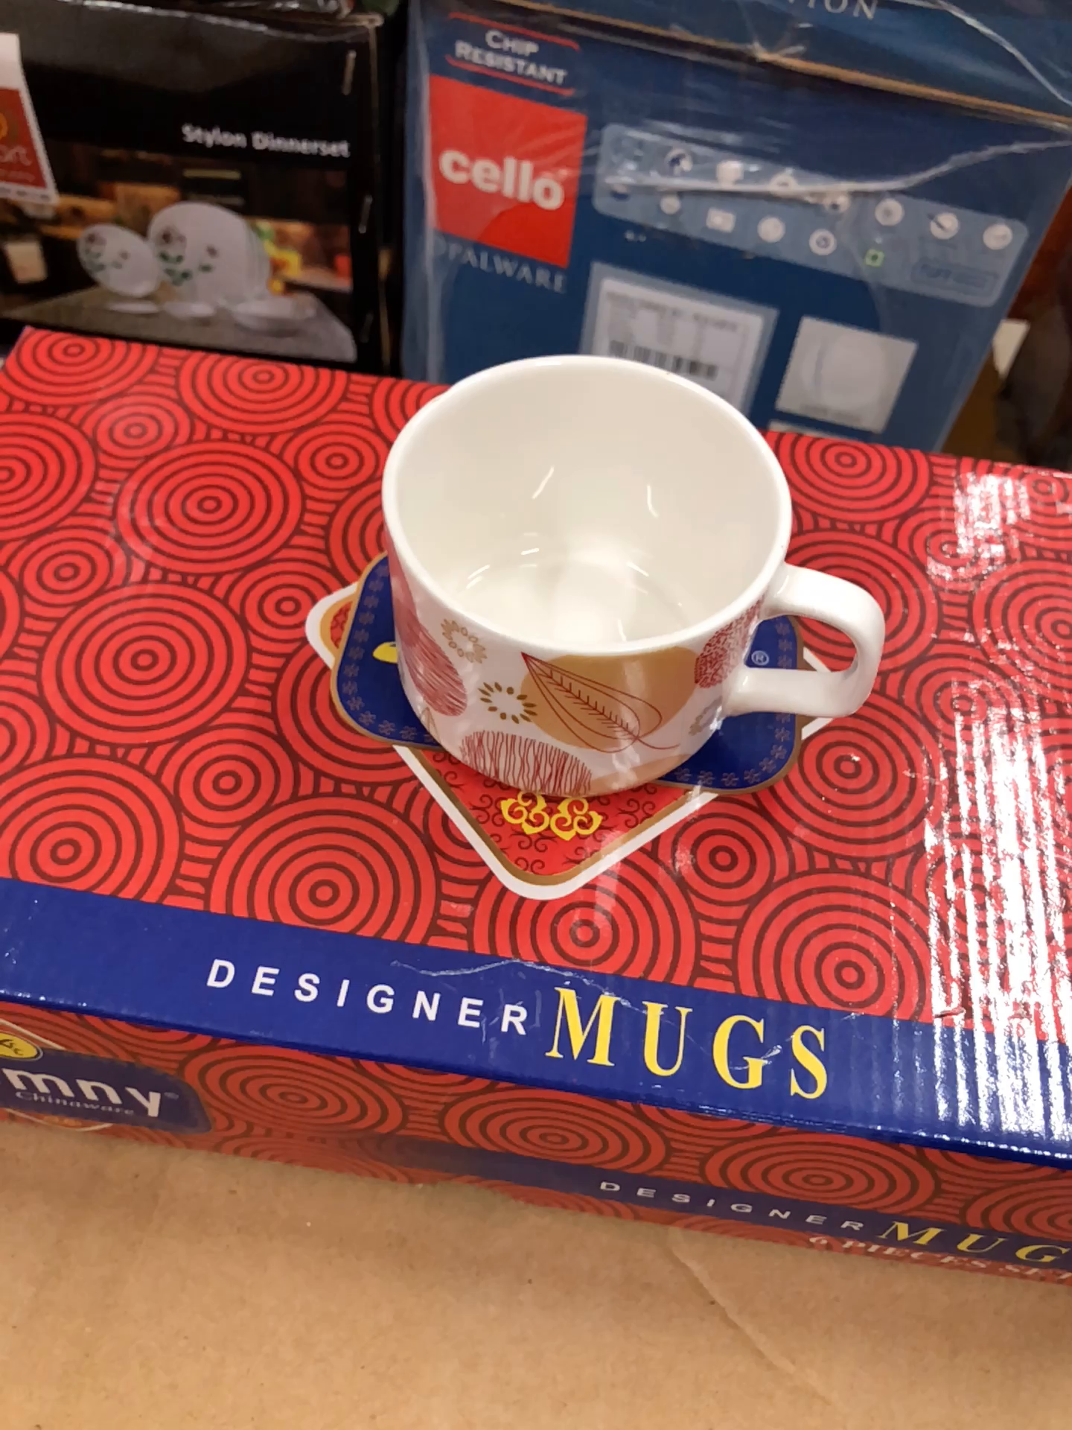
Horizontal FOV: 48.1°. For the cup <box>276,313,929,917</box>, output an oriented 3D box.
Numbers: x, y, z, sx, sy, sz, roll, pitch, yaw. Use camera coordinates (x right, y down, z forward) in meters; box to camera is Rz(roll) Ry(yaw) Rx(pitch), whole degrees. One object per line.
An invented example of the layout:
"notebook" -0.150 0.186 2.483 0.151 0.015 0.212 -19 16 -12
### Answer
"cup" 0.013 -0.018 0.206 0.090 0.050 0.070 13 54 4
